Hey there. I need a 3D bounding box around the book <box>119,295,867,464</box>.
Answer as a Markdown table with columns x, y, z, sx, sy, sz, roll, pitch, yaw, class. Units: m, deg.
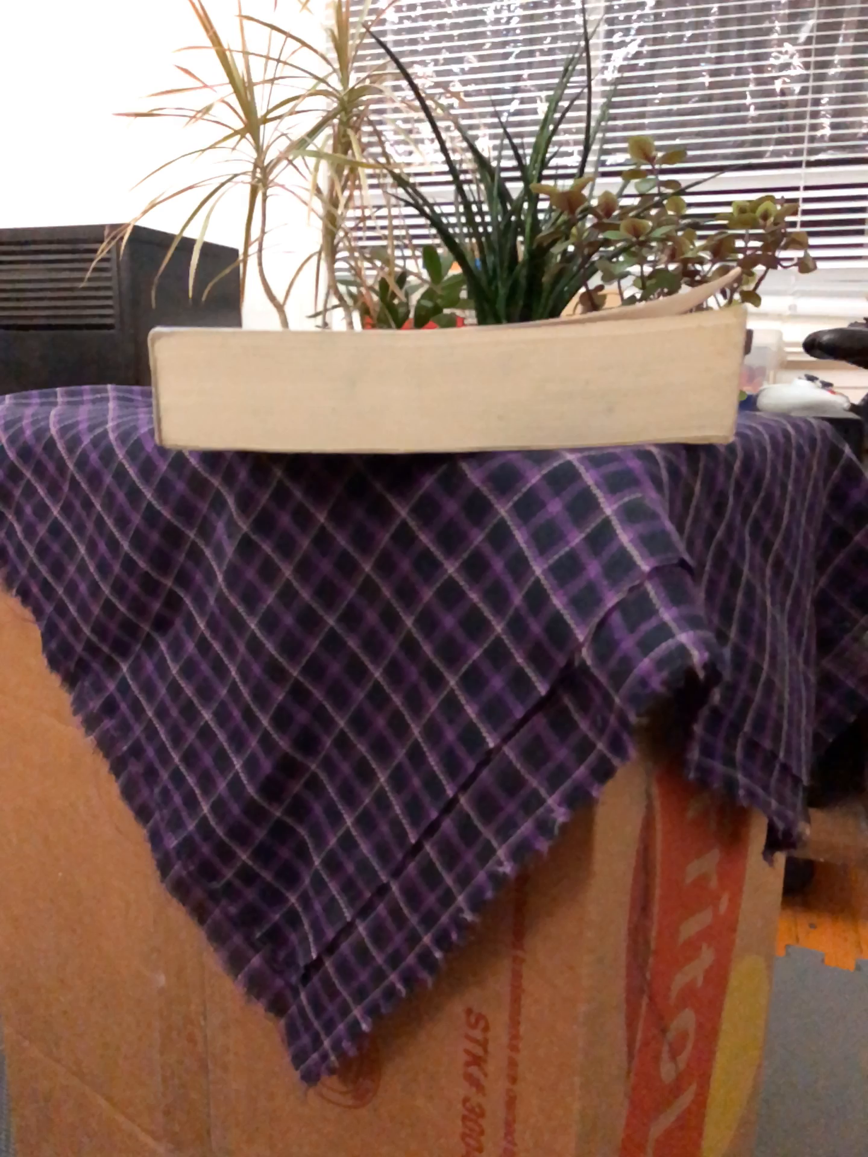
| x | y | z | sx | sy | sz | roll | pitch | yaw | class |
| --- | --- | --- | --- | --- | --- | --- | --- | --- | --- |
| 0.012 | -0.076 | 0.370 | 0.200 | 0.040 | 0.261 | -1 | 12 | -5 | book |
